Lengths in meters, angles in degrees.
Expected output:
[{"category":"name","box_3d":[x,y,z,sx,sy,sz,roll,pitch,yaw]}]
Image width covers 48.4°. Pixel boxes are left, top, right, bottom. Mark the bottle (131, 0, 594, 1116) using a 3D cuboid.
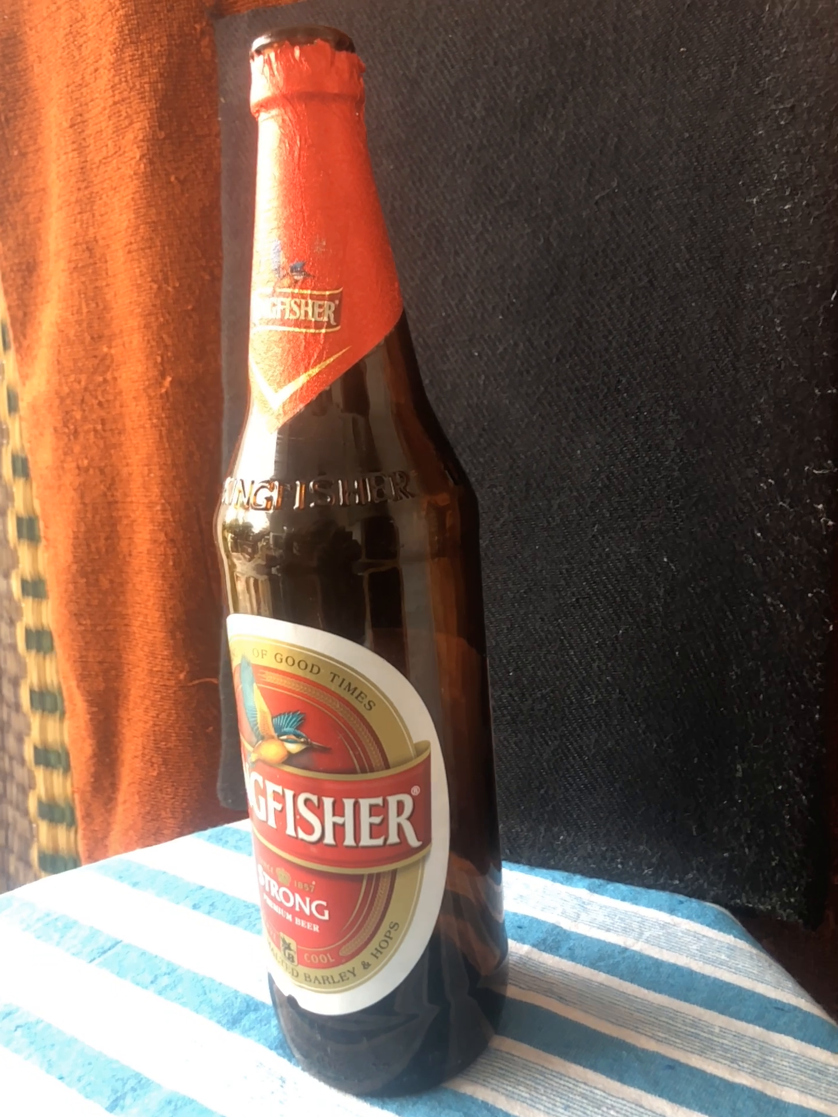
[{"category":"bottle","box_3d":[-0.007,0.002,0.254,0.080,0.289,0.070,8,17,38]}]
